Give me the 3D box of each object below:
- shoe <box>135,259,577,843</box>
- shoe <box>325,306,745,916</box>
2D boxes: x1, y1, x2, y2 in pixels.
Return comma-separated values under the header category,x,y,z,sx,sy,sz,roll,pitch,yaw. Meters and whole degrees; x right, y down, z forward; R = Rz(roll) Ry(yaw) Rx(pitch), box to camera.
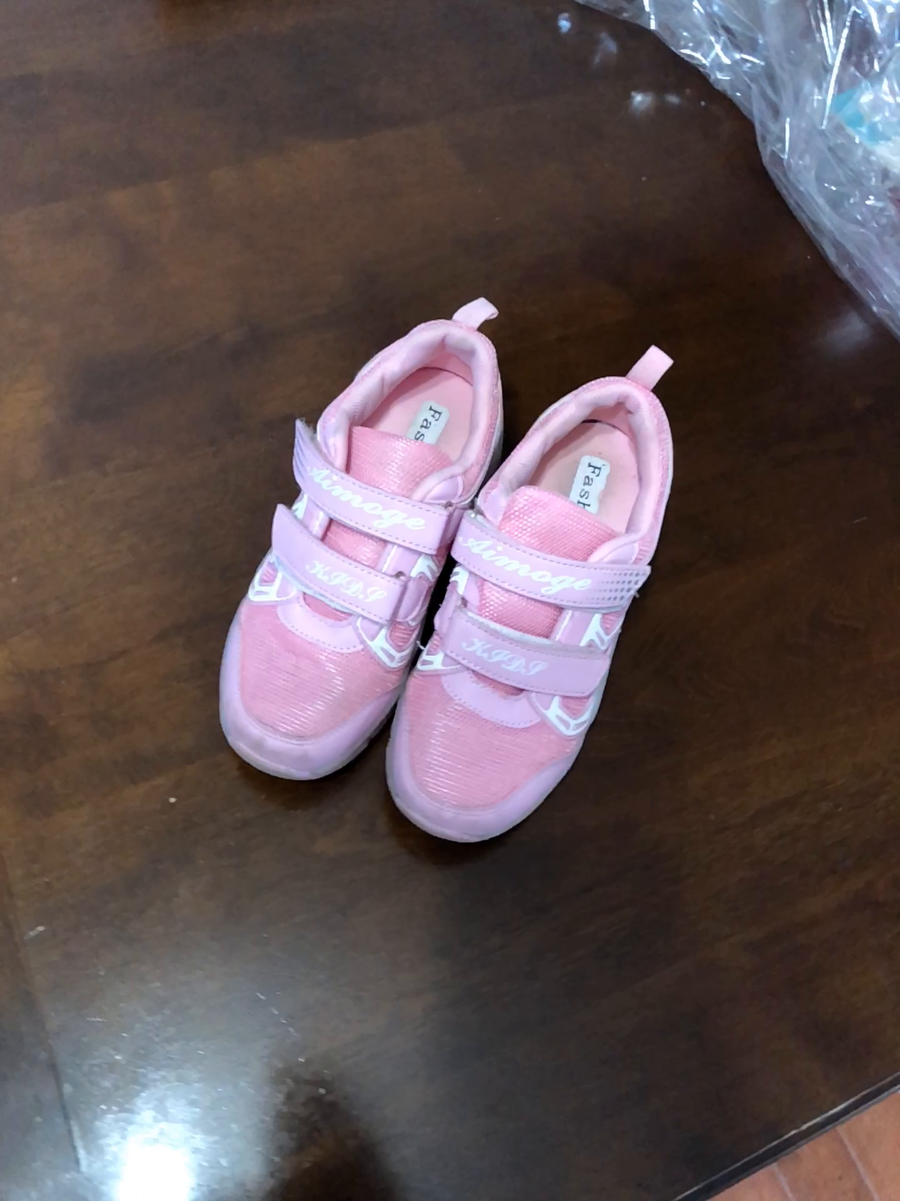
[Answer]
category,x,y,z,sx,sy,sz,roll,pitch,yaw
shoe,-0.036,-0.027,0.494,0.100,0.110,0.250,23,65,5
shoe,0.043,0.002,0.495,0.110,0.110,0.260,22,64,4
